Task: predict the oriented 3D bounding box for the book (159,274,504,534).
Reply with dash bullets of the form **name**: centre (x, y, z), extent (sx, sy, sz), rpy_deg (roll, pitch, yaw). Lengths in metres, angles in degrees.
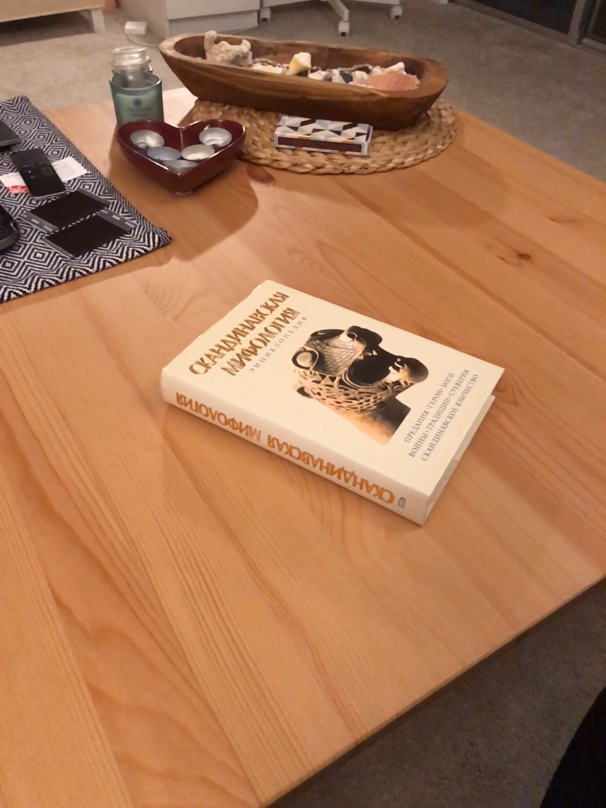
- **book**: centre (0.023, -0.013, 0.505), extent (0.210, 0.037, 0.147), rpy_deg (25, 49, 20)
